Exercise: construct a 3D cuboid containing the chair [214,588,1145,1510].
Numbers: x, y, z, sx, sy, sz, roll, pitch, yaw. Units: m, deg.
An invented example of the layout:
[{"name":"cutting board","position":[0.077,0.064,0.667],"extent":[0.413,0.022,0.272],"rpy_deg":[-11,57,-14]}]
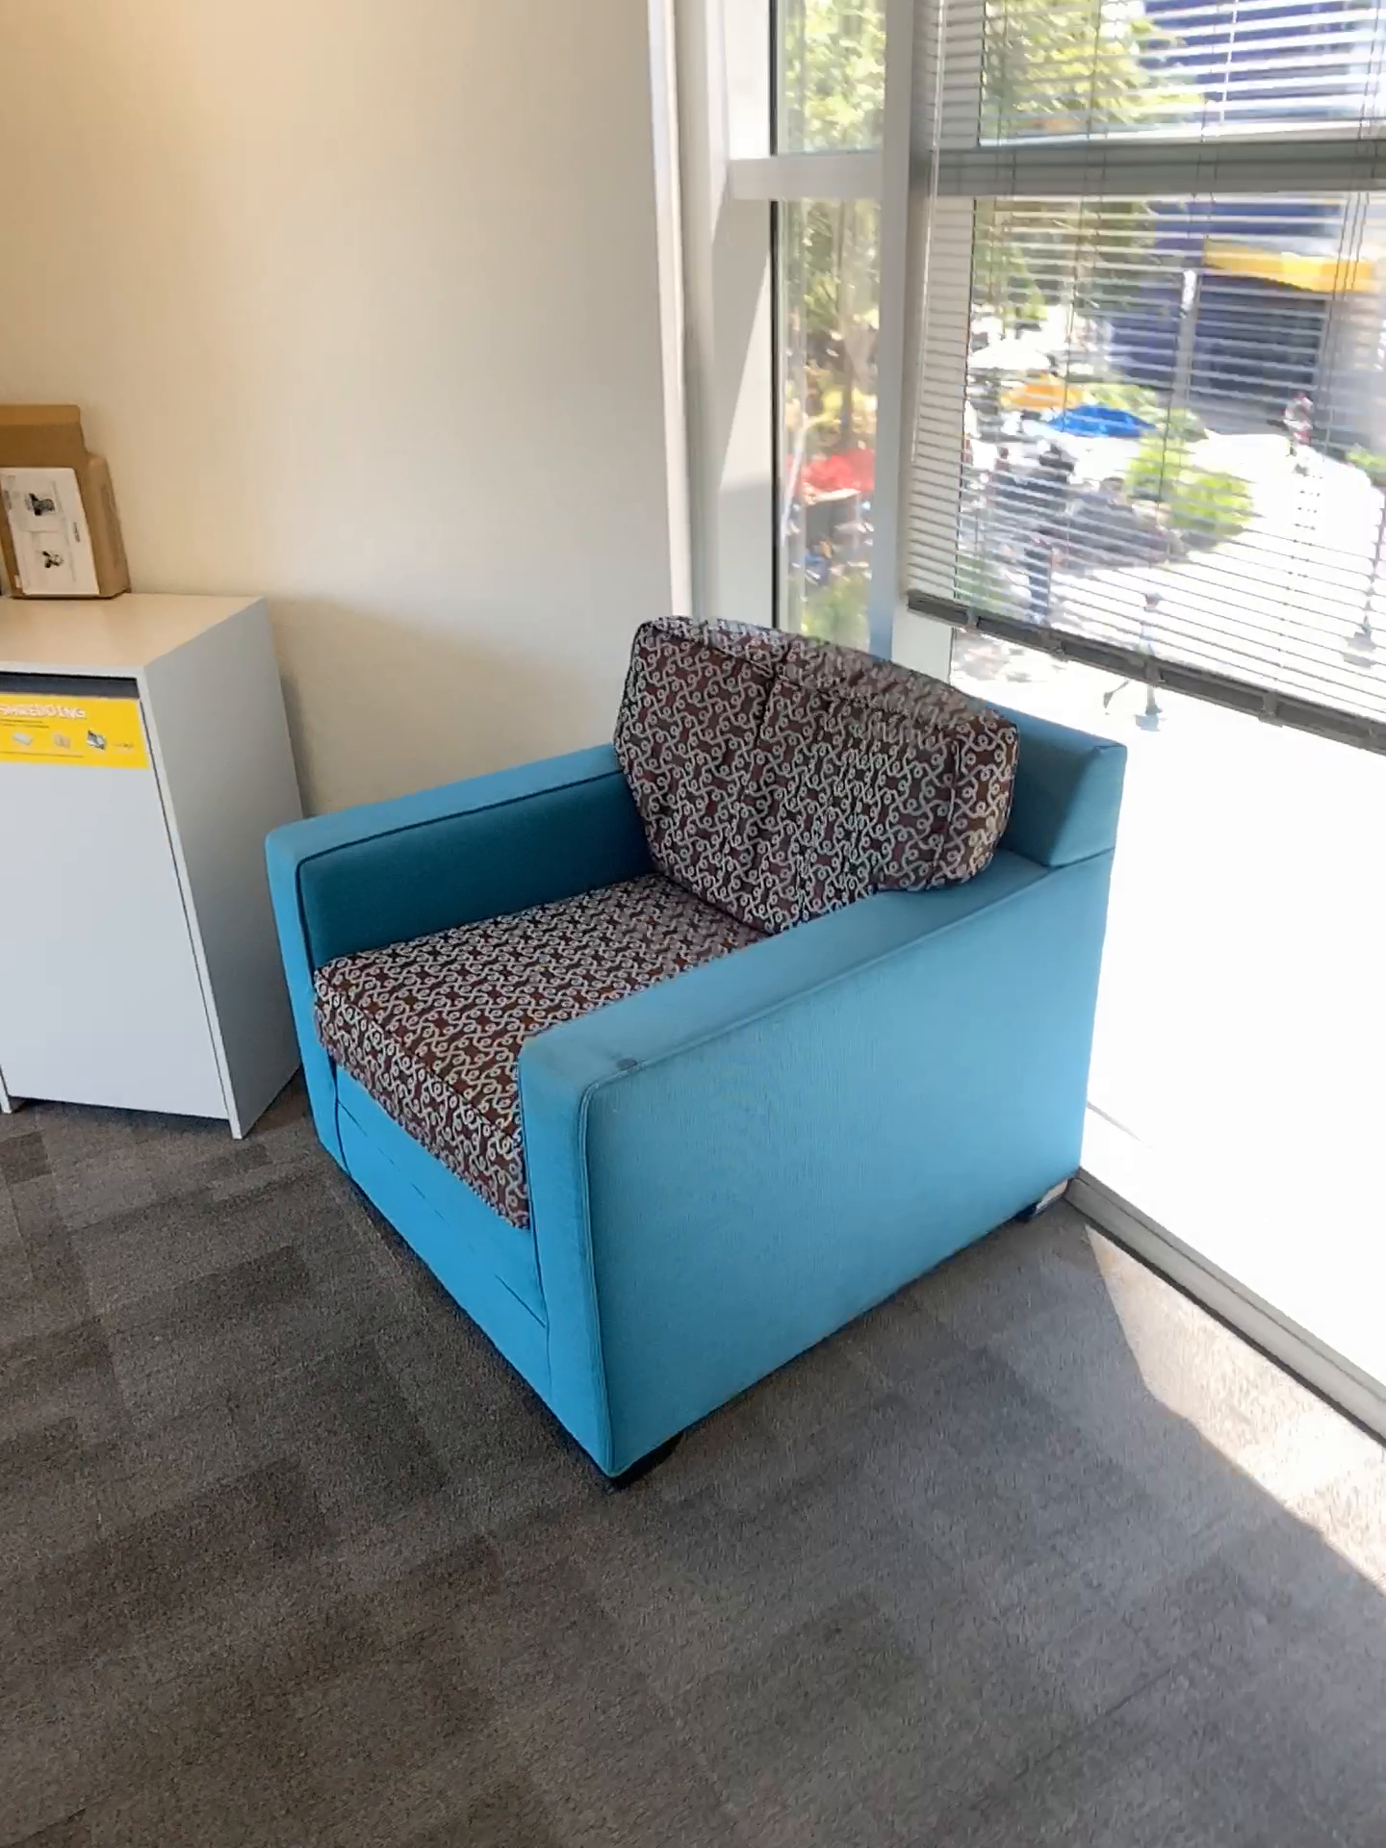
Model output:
[{"name":"chair","position":[-0.038,0.061,2.132],"extent":[0.910,0.805,0.935],"rpy_deg":[-21,32,-32]}]
